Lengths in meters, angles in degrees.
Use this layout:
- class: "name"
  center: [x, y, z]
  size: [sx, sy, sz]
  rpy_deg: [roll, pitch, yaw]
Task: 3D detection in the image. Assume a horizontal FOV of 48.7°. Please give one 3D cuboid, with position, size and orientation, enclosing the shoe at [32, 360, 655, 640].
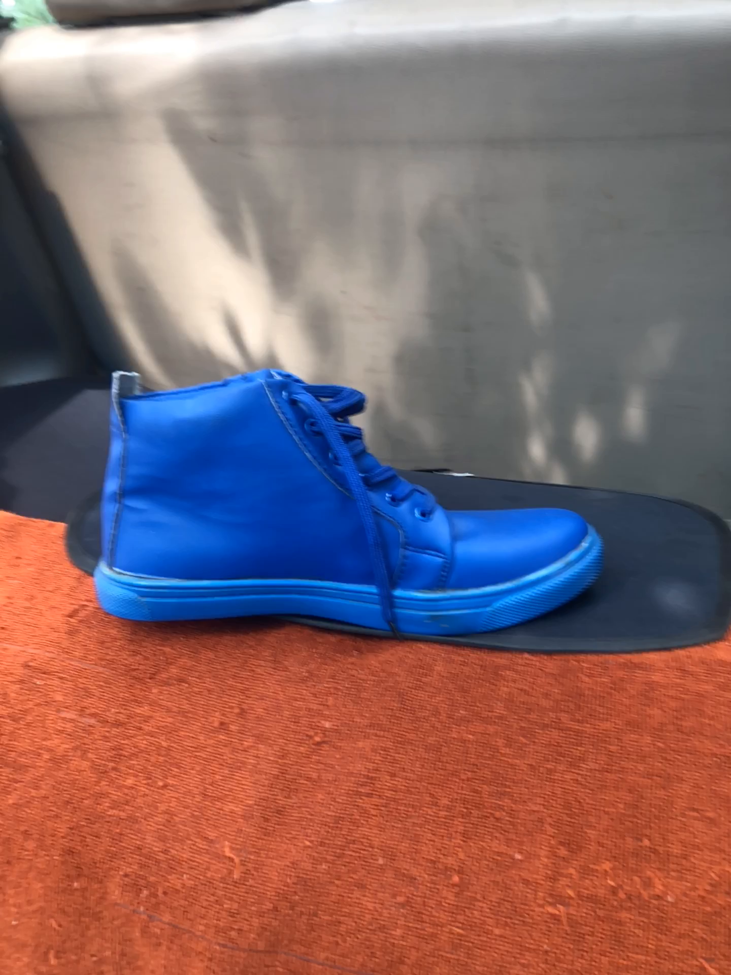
- class: "shoe"
  center: [-0.010, 0.000, 0.470]
  size: [0.300, 0.119, 0.131]
  rpy_deg: [1, 19, 1]
